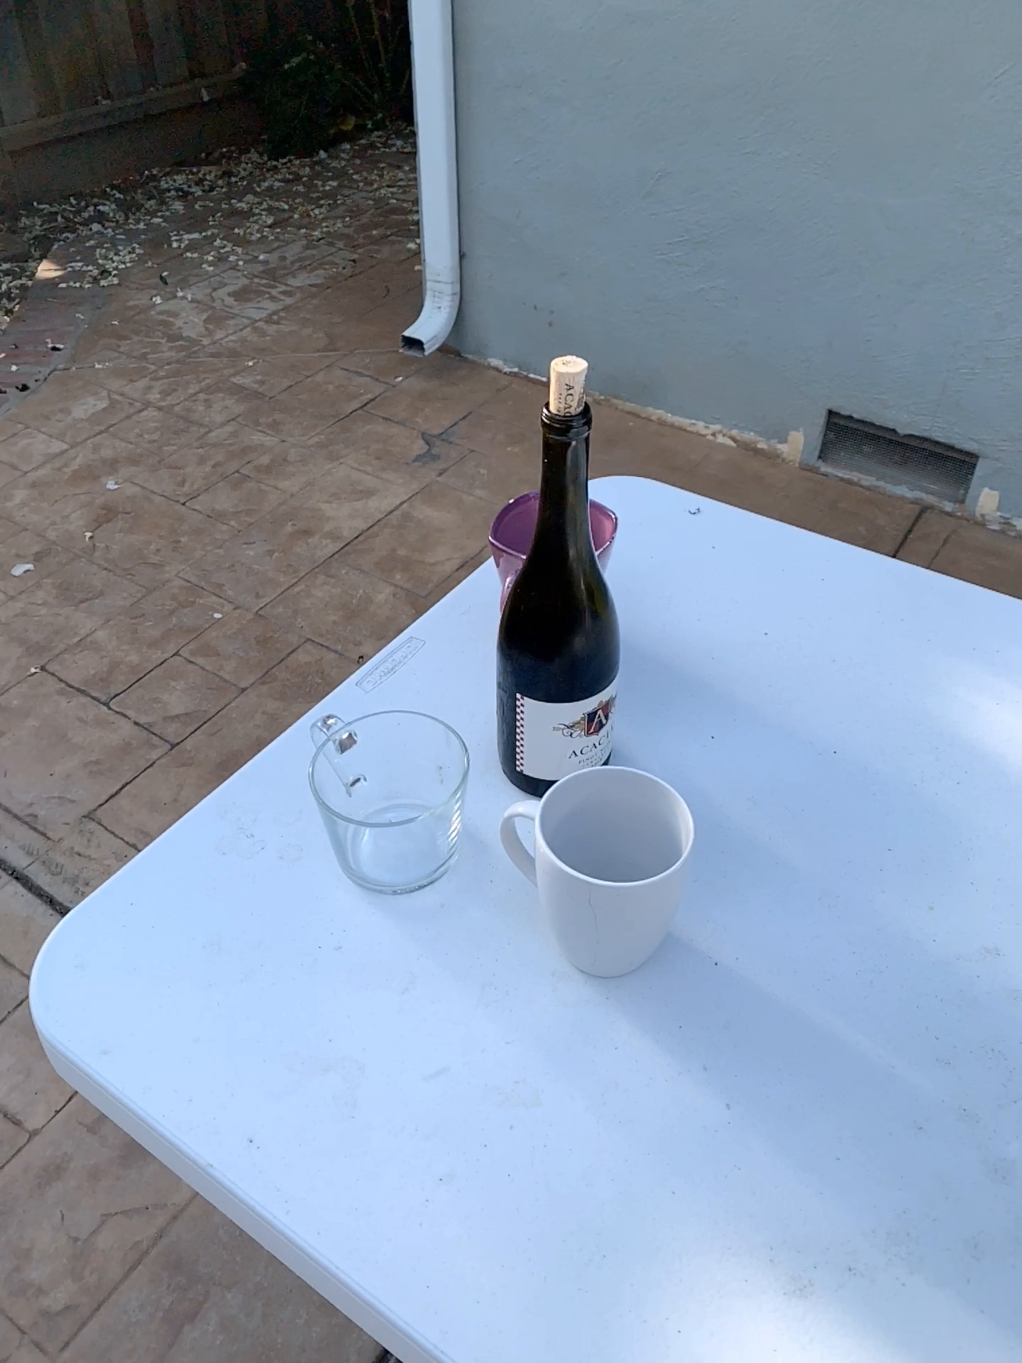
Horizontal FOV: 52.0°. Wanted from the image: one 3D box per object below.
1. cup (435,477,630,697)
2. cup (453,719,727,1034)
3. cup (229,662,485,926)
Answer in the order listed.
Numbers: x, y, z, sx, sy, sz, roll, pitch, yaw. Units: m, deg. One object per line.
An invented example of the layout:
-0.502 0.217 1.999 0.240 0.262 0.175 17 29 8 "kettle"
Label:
0.019 -0.080 0.846 0.100 0.099 0.130 21 45 22 "cup"
0.046 0.117 0.643 0.130 0.119 0.090 24 46 25 "cup"
-0.099 0.070 0.692 0.130 0.080 0.100 31 50 31 "cup"
